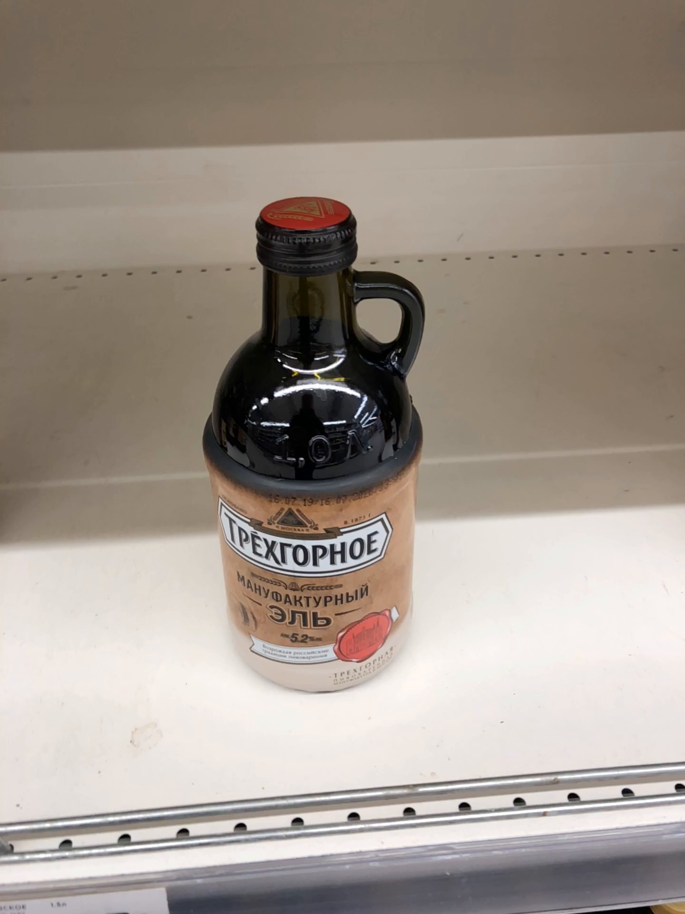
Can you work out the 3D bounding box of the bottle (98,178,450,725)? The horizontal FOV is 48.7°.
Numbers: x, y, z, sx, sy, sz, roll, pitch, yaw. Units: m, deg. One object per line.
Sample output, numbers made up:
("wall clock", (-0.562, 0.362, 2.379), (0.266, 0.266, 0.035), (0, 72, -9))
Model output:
("bottle", (-0.016, 0.006, 0.341), (0.110, 0.225, 0.101), (0, 37, 0))
